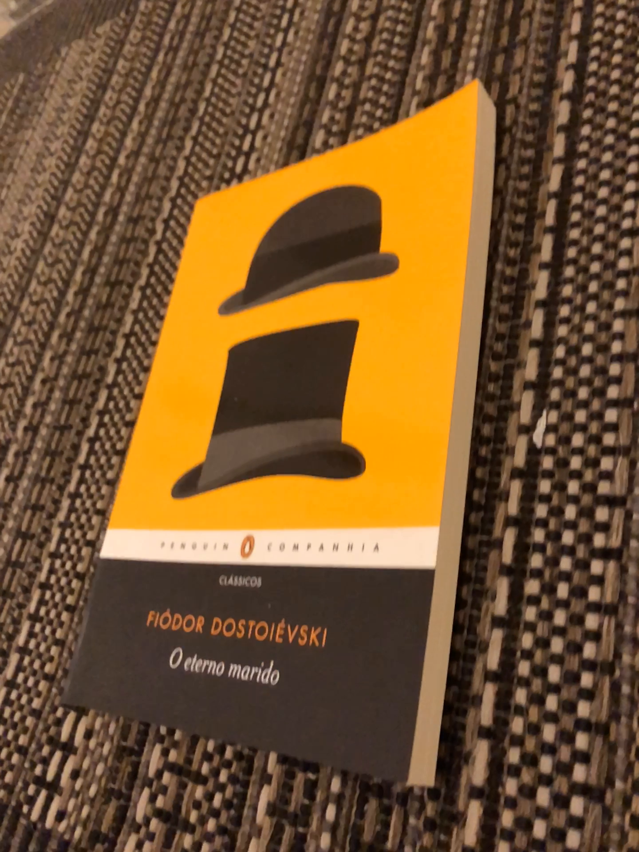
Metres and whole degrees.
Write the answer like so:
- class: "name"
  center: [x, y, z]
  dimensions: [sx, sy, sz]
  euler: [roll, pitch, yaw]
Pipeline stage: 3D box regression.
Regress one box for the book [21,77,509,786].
- class: "book"
  center: [-0.015, -0.006, 0.213]
  dimensions: [0.131, 0.020, 0.180]
  euler: [-7, 63, 36]
